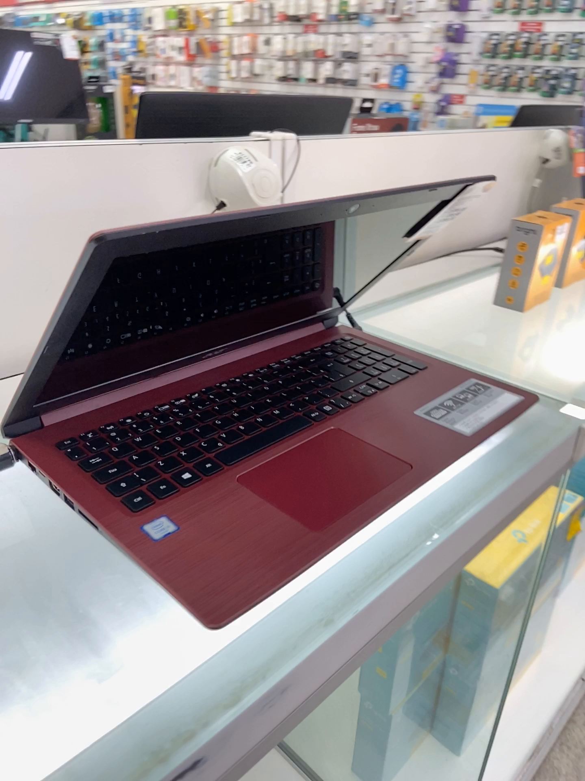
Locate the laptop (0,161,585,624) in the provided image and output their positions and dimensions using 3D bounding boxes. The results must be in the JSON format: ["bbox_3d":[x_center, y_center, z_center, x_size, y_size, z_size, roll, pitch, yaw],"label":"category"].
[{"bbox_3d":[0.008,-0.058,0.453,0.238,0.179,0.369,25,34,38],"label":"laptop"}]
